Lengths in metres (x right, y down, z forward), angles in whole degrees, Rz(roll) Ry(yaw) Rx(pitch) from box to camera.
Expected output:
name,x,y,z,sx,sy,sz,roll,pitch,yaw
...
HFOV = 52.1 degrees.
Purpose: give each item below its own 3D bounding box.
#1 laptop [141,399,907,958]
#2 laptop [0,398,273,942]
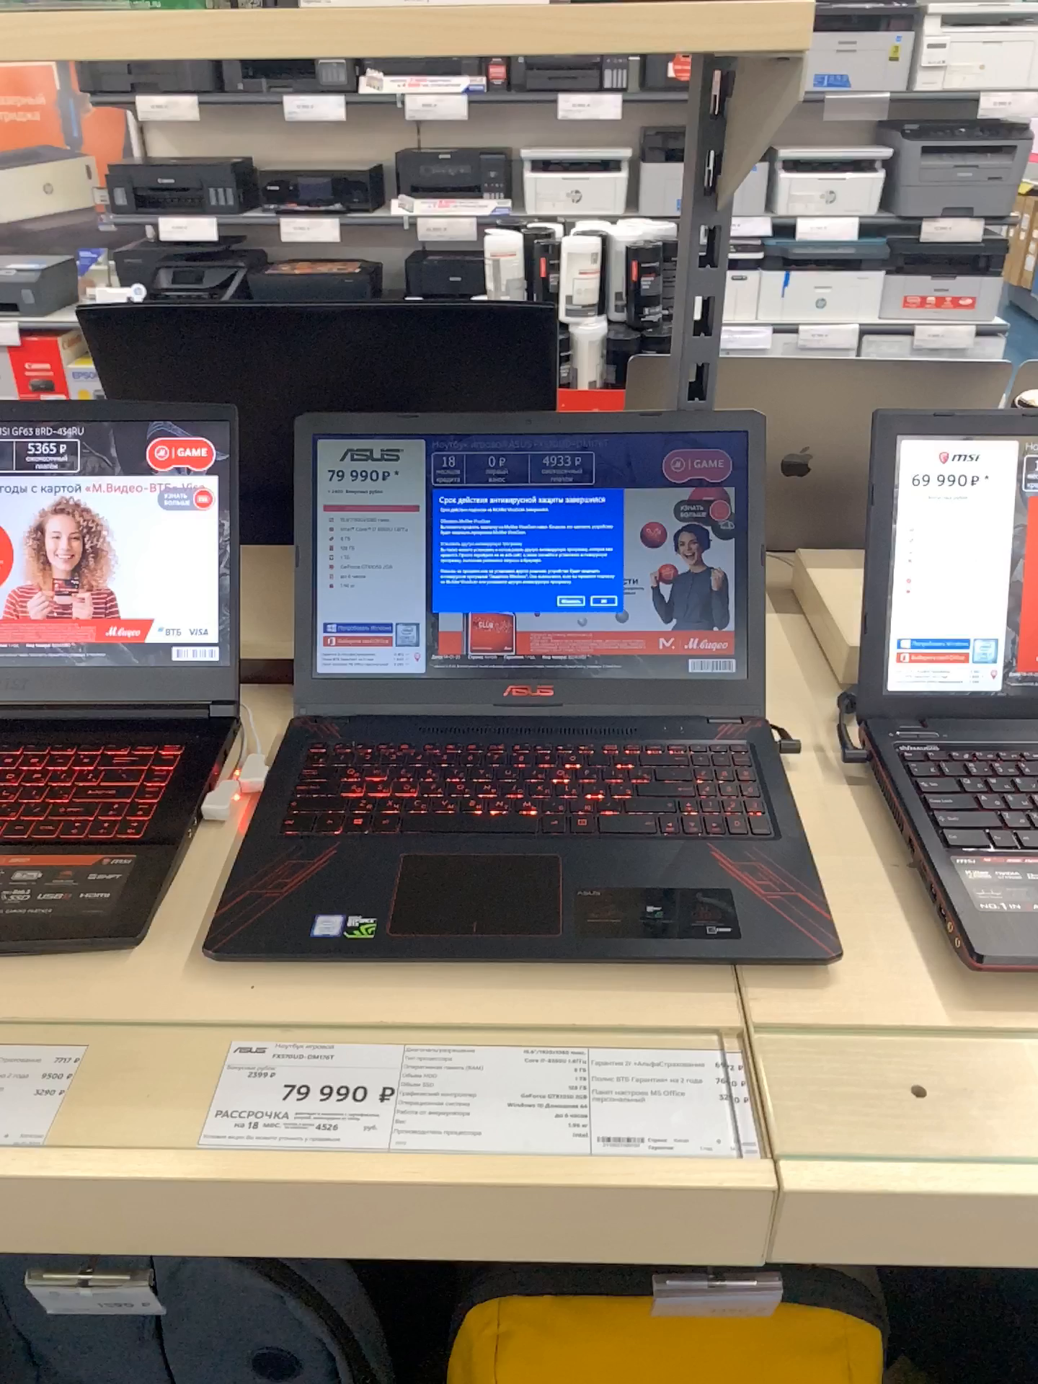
name,x,y,z,sx,sy,sz,roll,pitch,yaw
laptop,0.006,-0.038,0.717,0.365,0.199,0.384,0,31,2
laptop,-0.388,-0.040,0.715,0.338,0.209,0.355,1,31,1
